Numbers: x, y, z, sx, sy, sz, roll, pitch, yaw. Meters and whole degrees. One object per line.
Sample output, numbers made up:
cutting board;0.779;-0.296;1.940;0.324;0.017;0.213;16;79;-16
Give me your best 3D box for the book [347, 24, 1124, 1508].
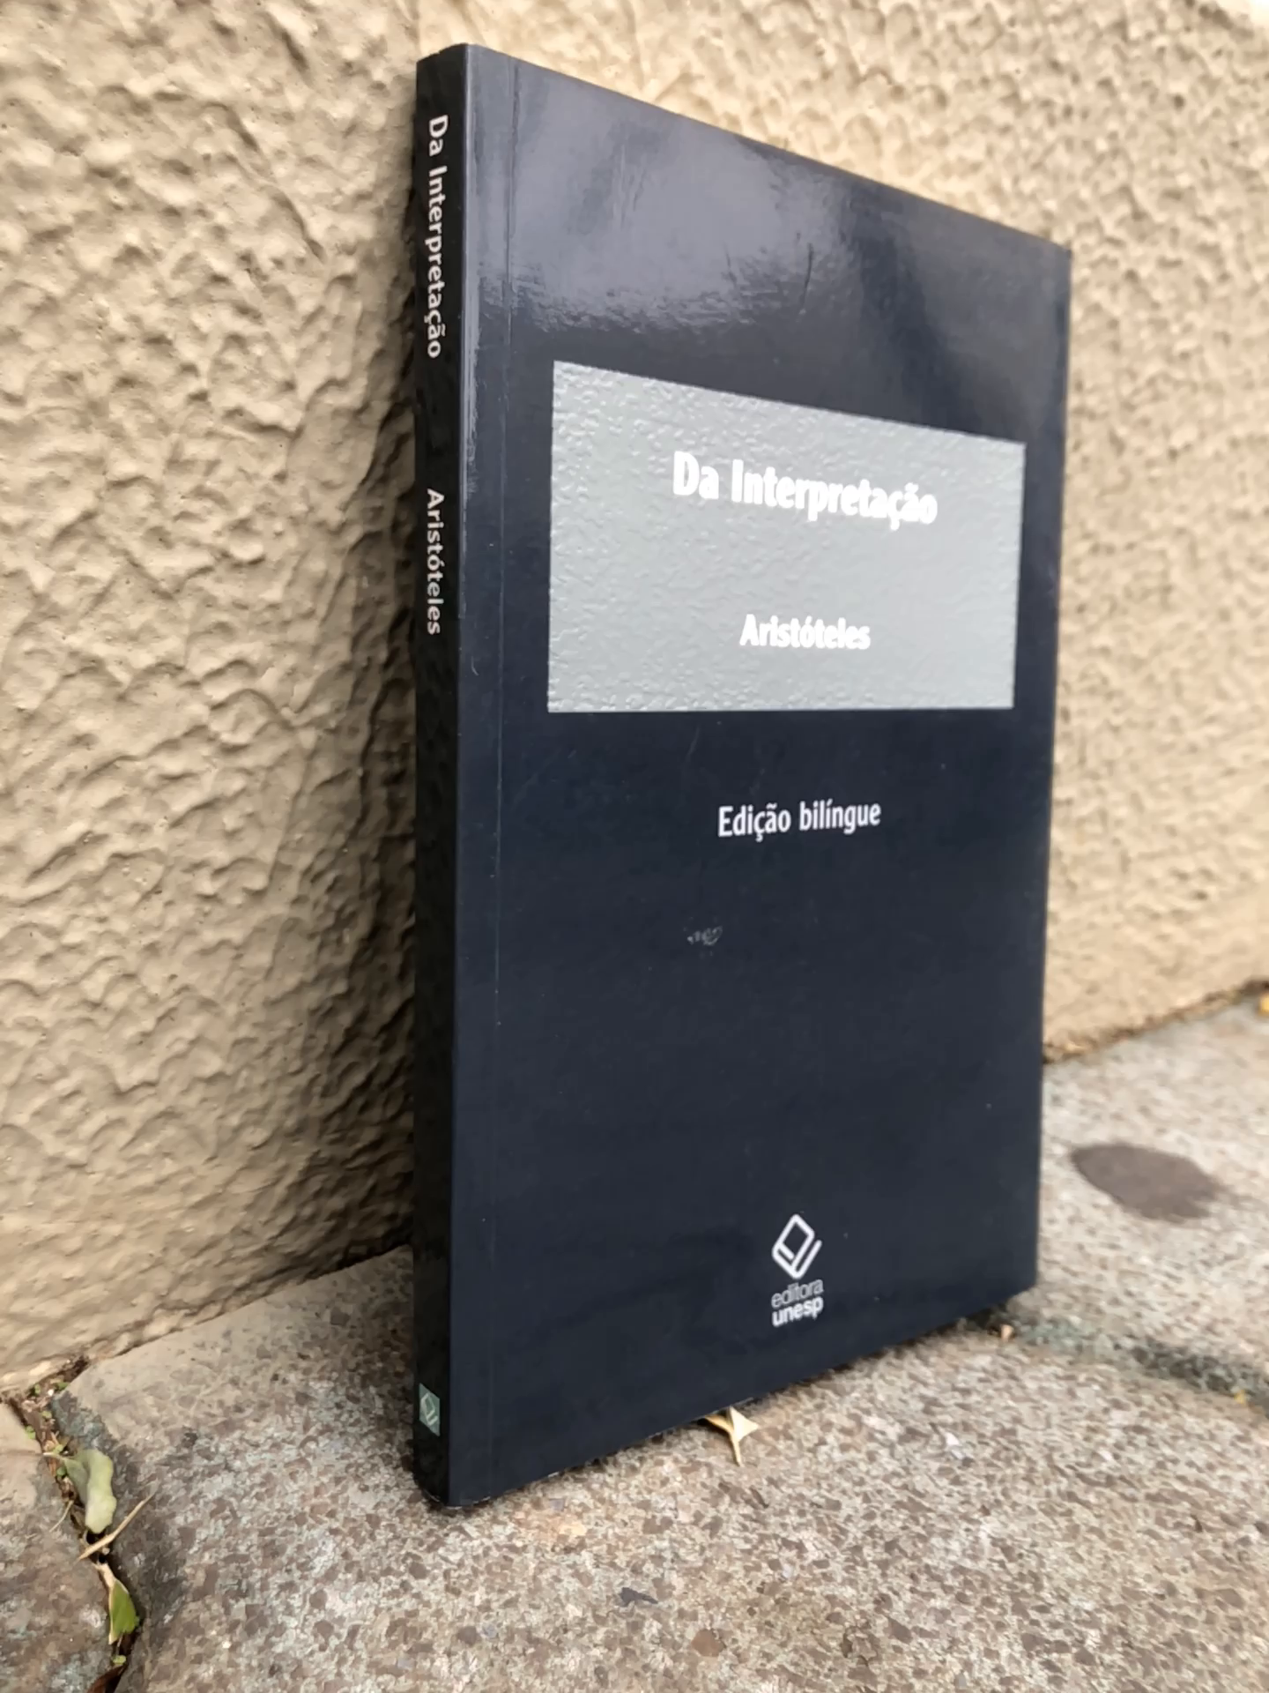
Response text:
book;0.022;-0.011;0.231;0.132;0.188;0.030;-4;8;-36
